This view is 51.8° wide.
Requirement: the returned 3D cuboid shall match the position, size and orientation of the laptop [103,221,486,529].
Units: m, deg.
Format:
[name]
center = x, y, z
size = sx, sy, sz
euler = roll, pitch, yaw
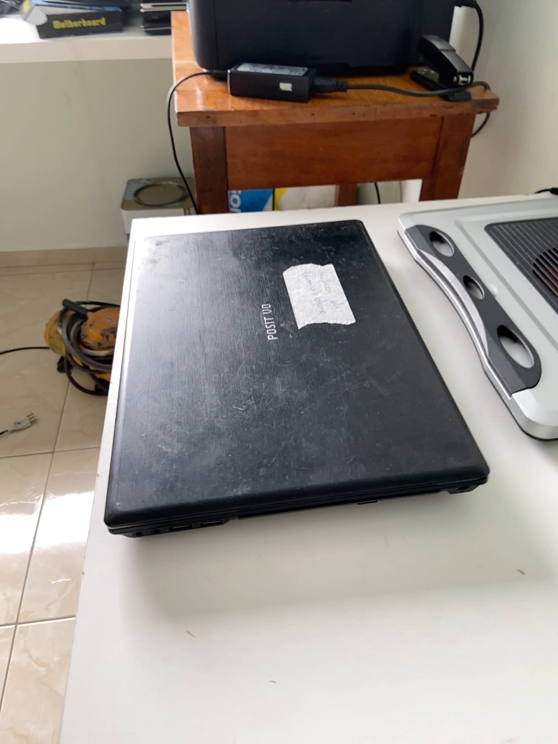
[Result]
[laptop]
center = -0.010, -0.031, 0.470
size = 0.233, 0.008, 0.330
euler = -7, 42, -4
